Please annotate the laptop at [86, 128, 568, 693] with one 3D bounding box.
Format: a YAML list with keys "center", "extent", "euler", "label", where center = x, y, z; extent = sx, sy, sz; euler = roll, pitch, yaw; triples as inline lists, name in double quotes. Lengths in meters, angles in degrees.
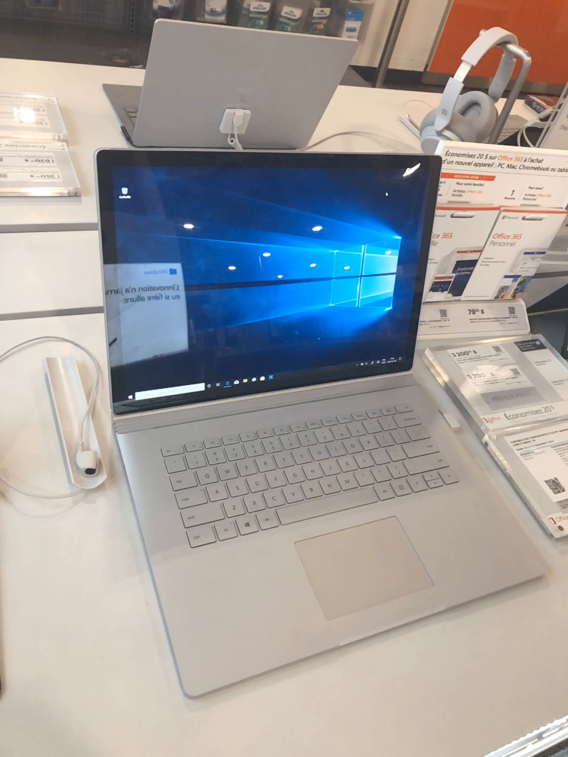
- center: [0.041, -0.010, 0.536]
  extent: [0.339, 0.207, 0.365]
  euler: [-8, 51, -25]
  label: "laptop"
